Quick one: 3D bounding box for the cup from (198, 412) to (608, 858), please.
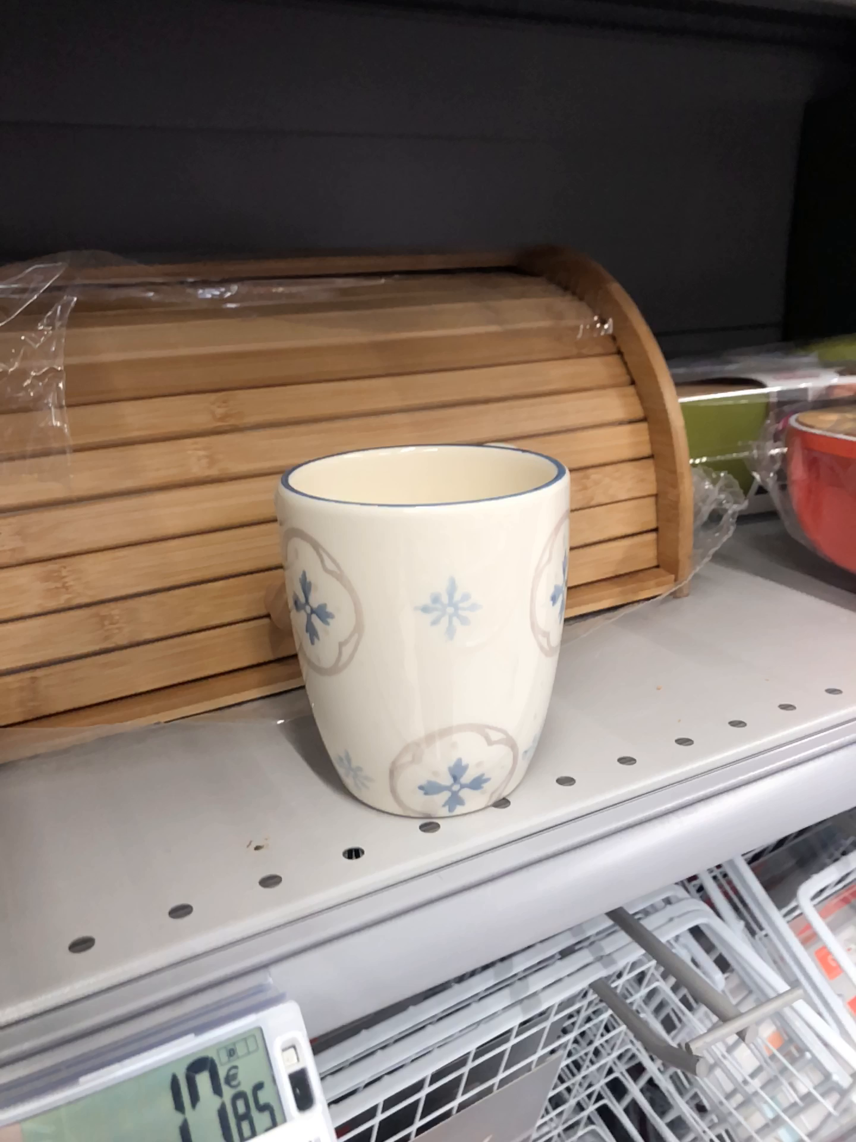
[{"bbox_3d":[0.003,0.007,0.304,0.083,0.089,0.134,6,20,18],"label":"cup"}]
